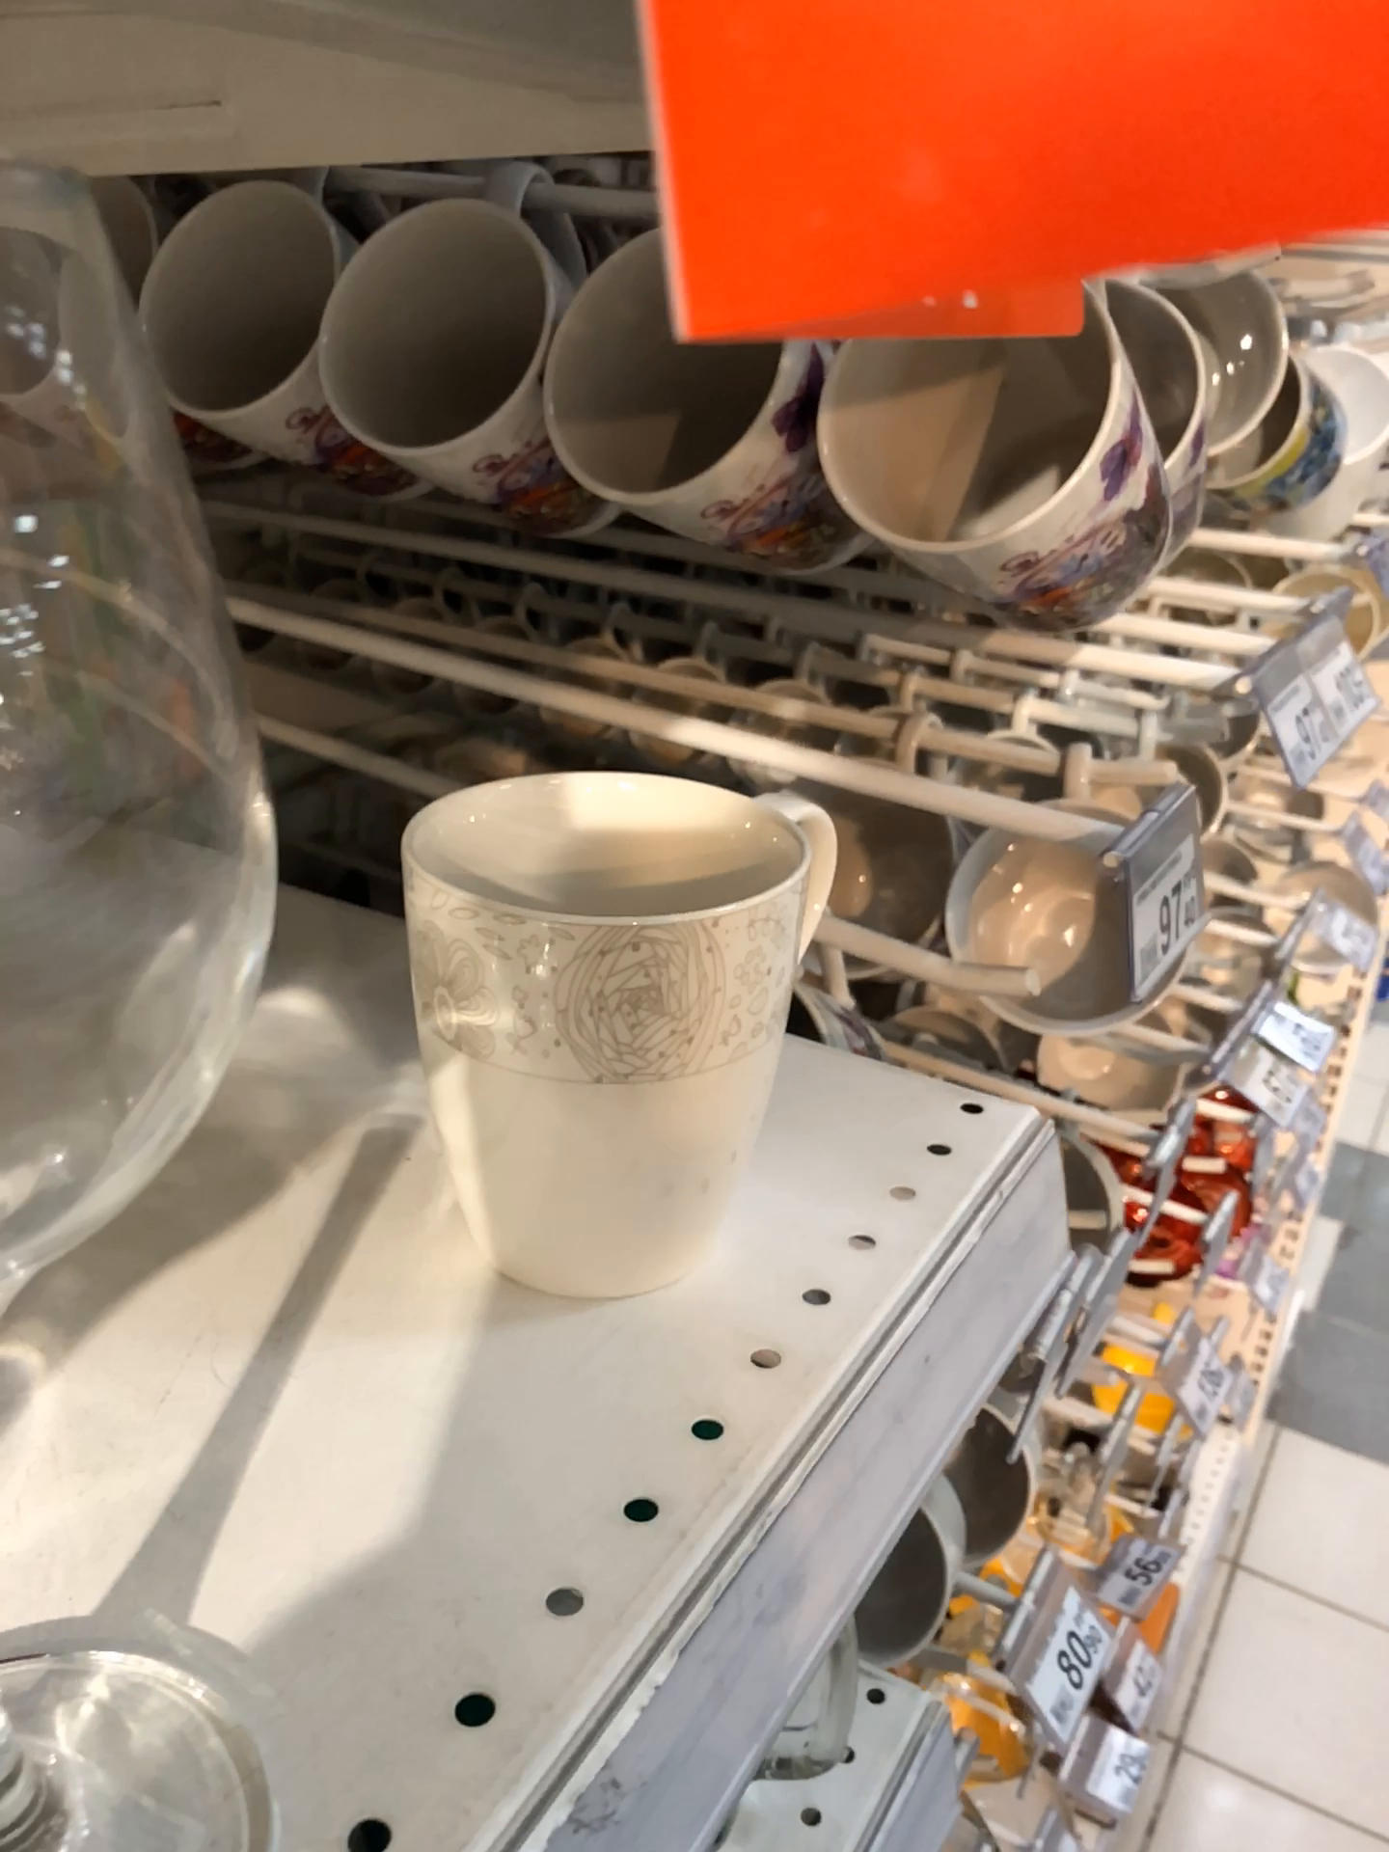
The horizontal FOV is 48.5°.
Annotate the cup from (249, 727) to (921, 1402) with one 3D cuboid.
[{"bbox_3d":[-0.021,0.020,0.354,0.089,0.091,0.126,17,26,28],"label":"cup"}]
